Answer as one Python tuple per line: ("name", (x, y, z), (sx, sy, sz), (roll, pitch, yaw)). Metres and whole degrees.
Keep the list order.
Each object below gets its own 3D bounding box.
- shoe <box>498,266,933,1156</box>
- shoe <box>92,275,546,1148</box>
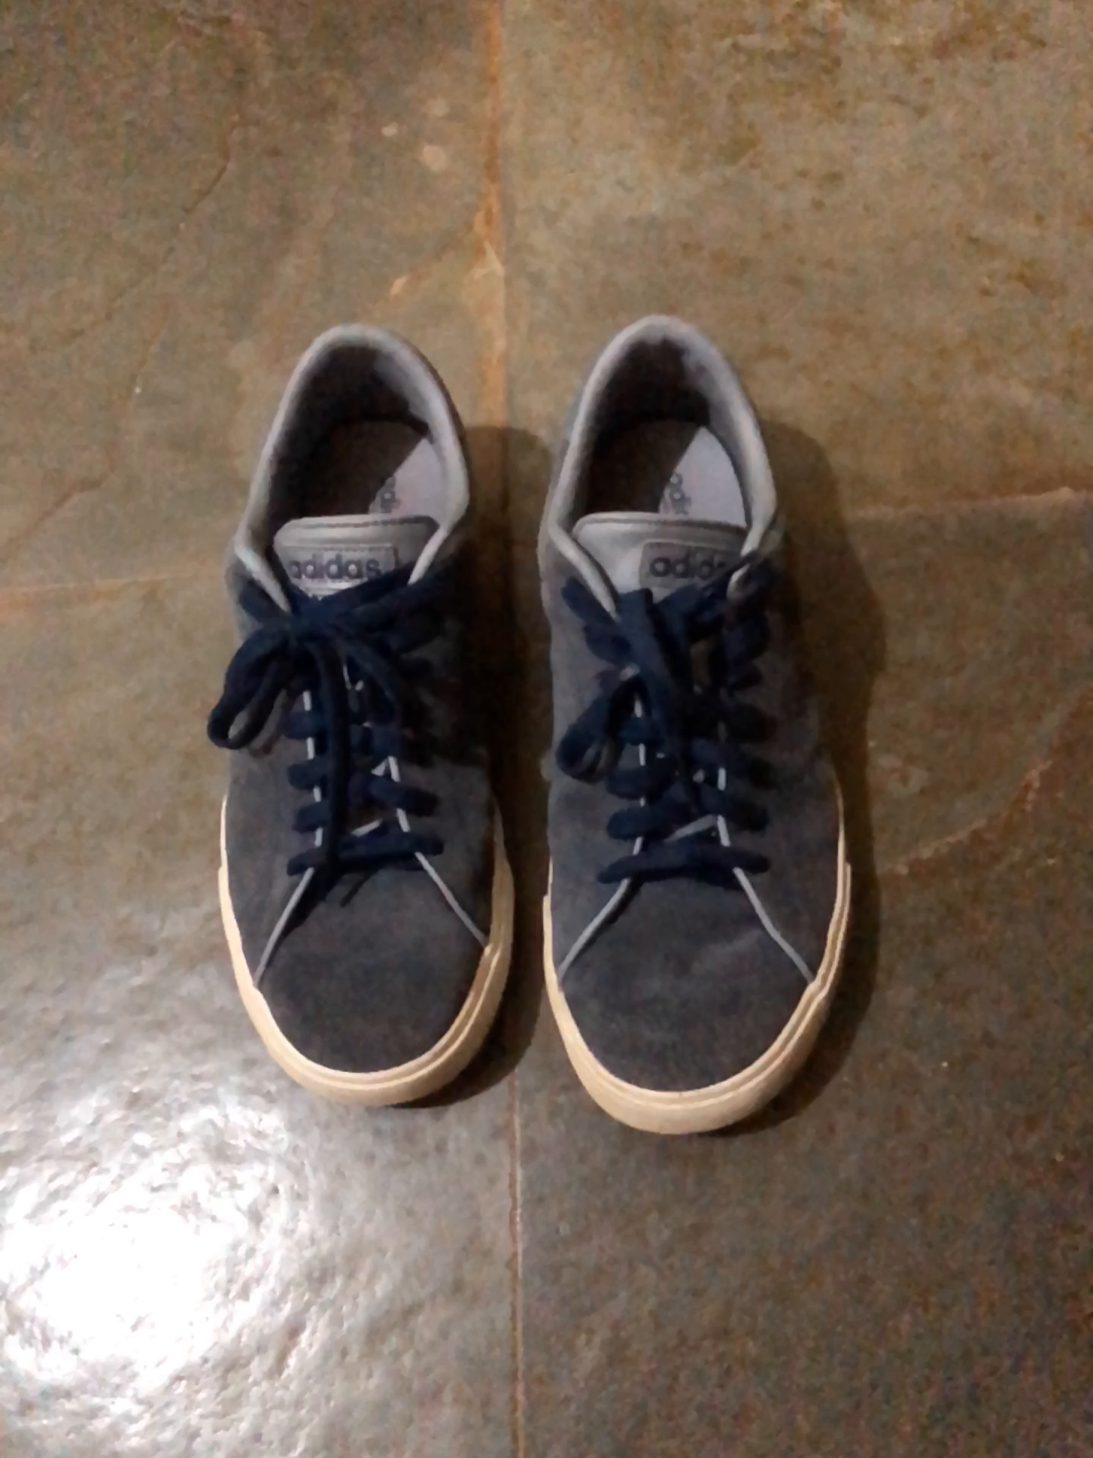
("shoe", (0.047, -0.010, 0.399), (0.110, 0.080, 0.281), (-2, 67, 6))
("shoe", (-0.064, -0.010, 0.398), (0.110, 0.080, 0.271), (-4, 67, 5))
